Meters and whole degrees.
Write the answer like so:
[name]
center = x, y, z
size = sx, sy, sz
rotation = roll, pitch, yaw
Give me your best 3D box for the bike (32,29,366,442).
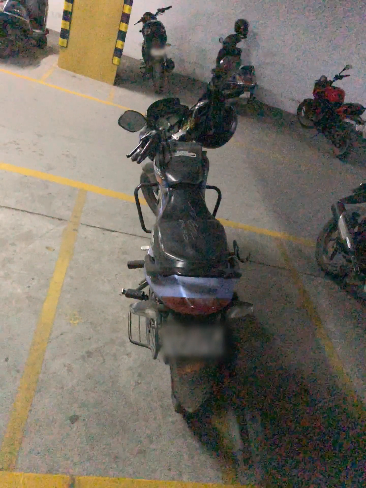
[bike]
center = -0.188, -0.187, 1.841
size = 0.781, 1.108, 1.707
rotation = 9, 34, -20
